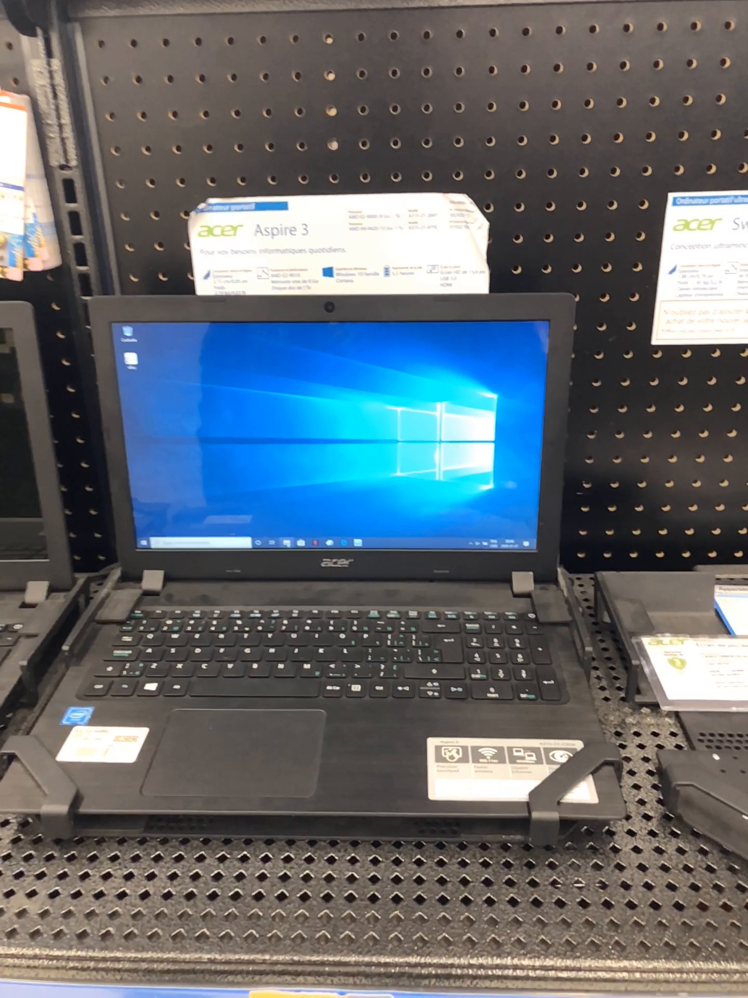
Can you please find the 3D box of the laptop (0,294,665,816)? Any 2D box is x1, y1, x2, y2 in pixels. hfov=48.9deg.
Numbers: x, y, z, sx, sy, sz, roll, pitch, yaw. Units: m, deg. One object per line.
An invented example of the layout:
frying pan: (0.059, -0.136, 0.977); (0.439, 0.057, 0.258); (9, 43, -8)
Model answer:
laptop: (-0.043, 0.013, 0.585); (0.386, 0.247, 0.296); (0, 25, 3)
